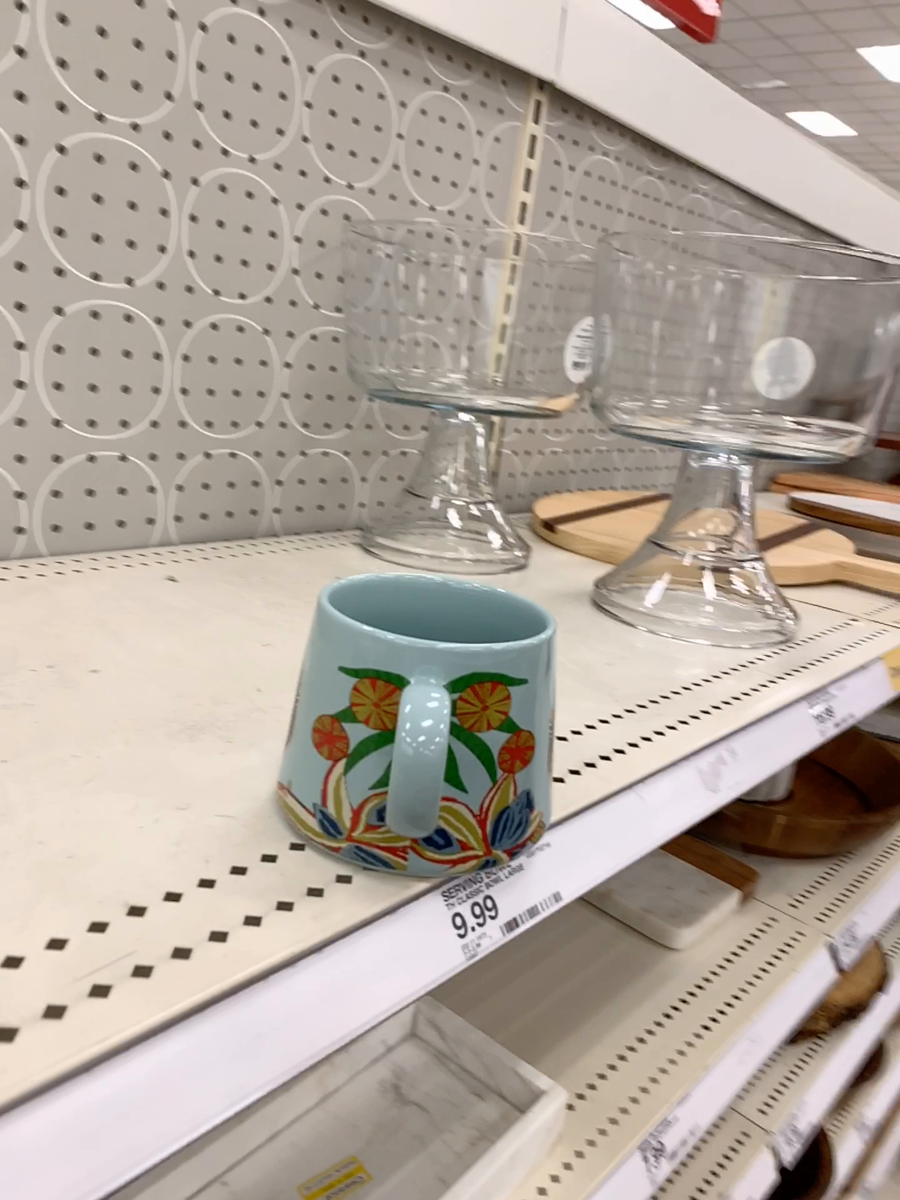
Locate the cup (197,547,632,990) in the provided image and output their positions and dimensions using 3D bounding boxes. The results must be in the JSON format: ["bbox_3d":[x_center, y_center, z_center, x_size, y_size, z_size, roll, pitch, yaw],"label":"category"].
[{"bbox_3d":[-0.008,0.048,0.341,0.120,0.090,0.141,9,16,3],"label":"cup"}]
